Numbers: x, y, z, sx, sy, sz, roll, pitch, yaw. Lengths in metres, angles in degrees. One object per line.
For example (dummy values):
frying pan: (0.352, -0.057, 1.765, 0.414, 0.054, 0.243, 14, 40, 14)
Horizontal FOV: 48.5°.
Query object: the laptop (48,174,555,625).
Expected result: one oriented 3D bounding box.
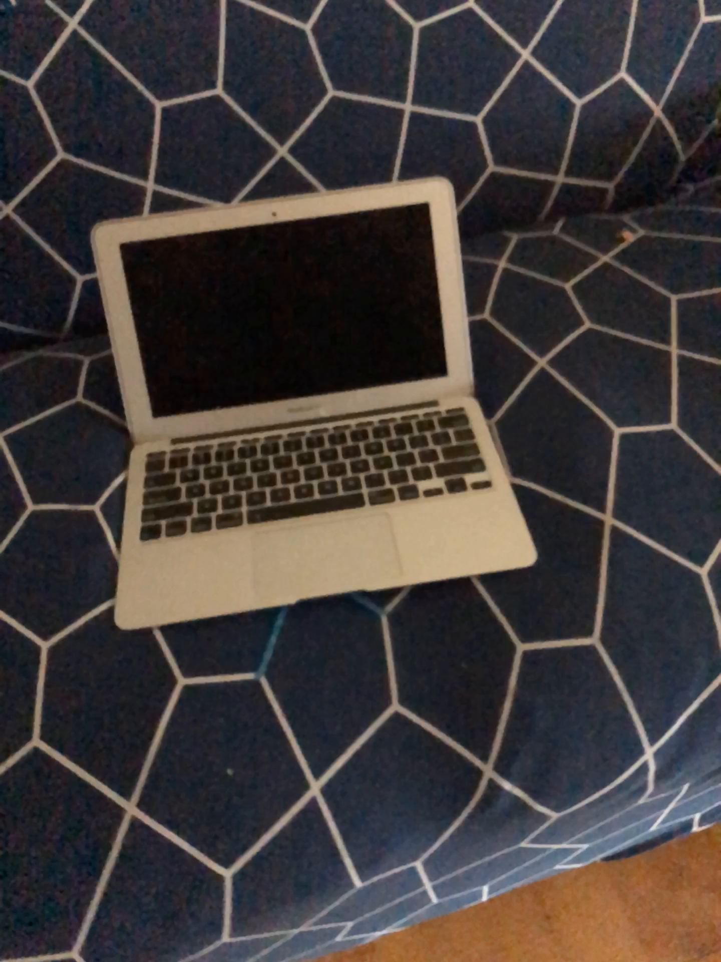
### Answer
laptop: (-0.047, -0.077, 0.593, 0.281, 0.156, 0.281, -8, 43, -4)
